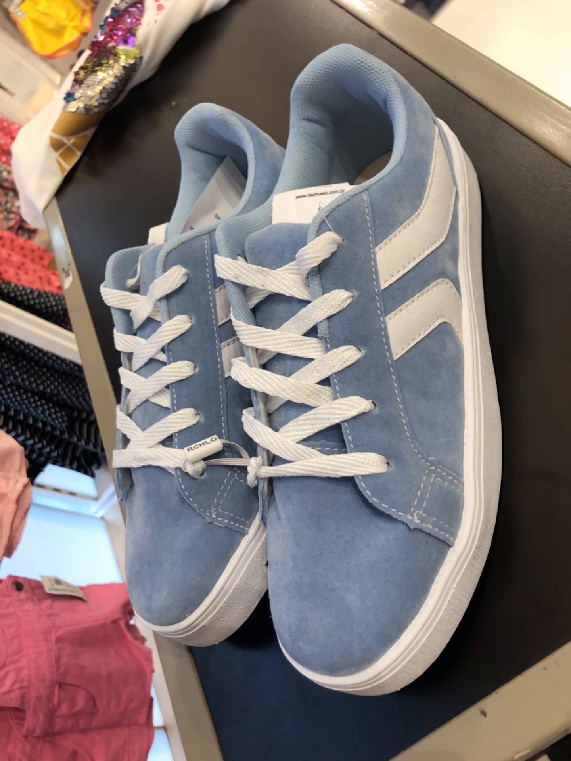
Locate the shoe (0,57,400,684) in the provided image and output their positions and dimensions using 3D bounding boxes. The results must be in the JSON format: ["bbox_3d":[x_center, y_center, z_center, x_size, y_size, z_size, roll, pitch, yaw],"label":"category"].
[{"bbox_3d":[-0.034,0.002,0.302,0.100,0.119,0.240,-4,67,39],"label":"shoe"}]

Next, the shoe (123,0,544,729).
[{"bbox_3d":[0.037,-0.003,0.266,0.100,0.119,0.240,-8,65,38],"label":"shoe"}]
